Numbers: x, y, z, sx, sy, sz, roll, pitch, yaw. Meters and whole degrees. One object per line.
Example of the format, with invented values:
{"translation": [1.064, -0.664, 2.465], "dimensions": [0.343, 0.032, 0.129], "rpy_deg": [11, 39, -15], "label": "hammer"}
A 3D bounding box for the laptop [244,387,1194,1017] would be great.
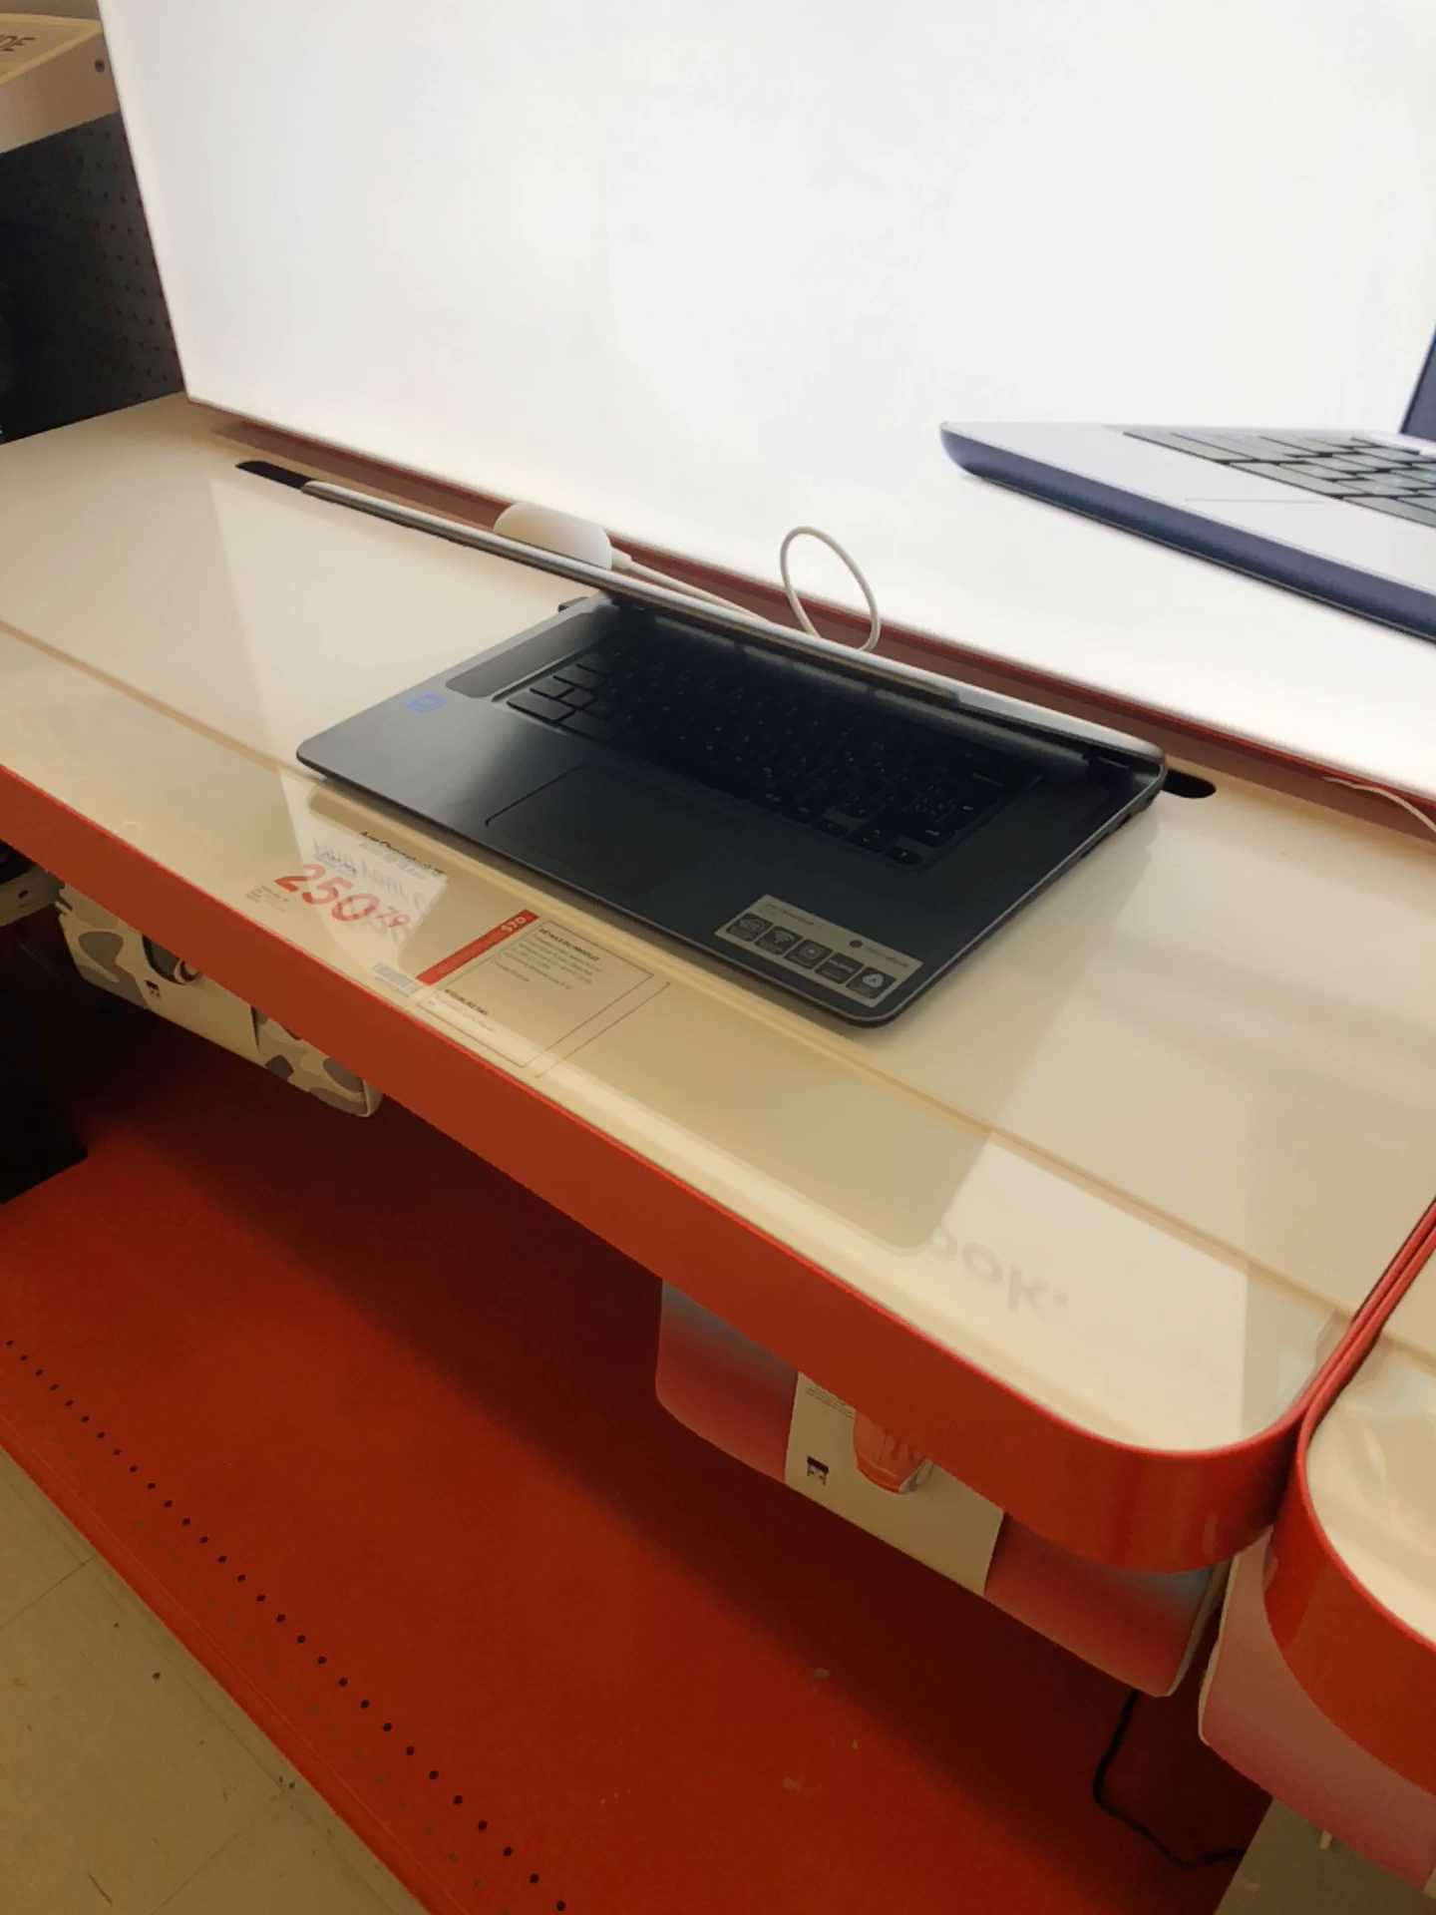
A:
{"translation": [-0.005, -0.148, 0.747], "dimensions": [0.364, 0.122, 0.238], "rpy_deg": [25, 44, 32], "label": "laptop"}
